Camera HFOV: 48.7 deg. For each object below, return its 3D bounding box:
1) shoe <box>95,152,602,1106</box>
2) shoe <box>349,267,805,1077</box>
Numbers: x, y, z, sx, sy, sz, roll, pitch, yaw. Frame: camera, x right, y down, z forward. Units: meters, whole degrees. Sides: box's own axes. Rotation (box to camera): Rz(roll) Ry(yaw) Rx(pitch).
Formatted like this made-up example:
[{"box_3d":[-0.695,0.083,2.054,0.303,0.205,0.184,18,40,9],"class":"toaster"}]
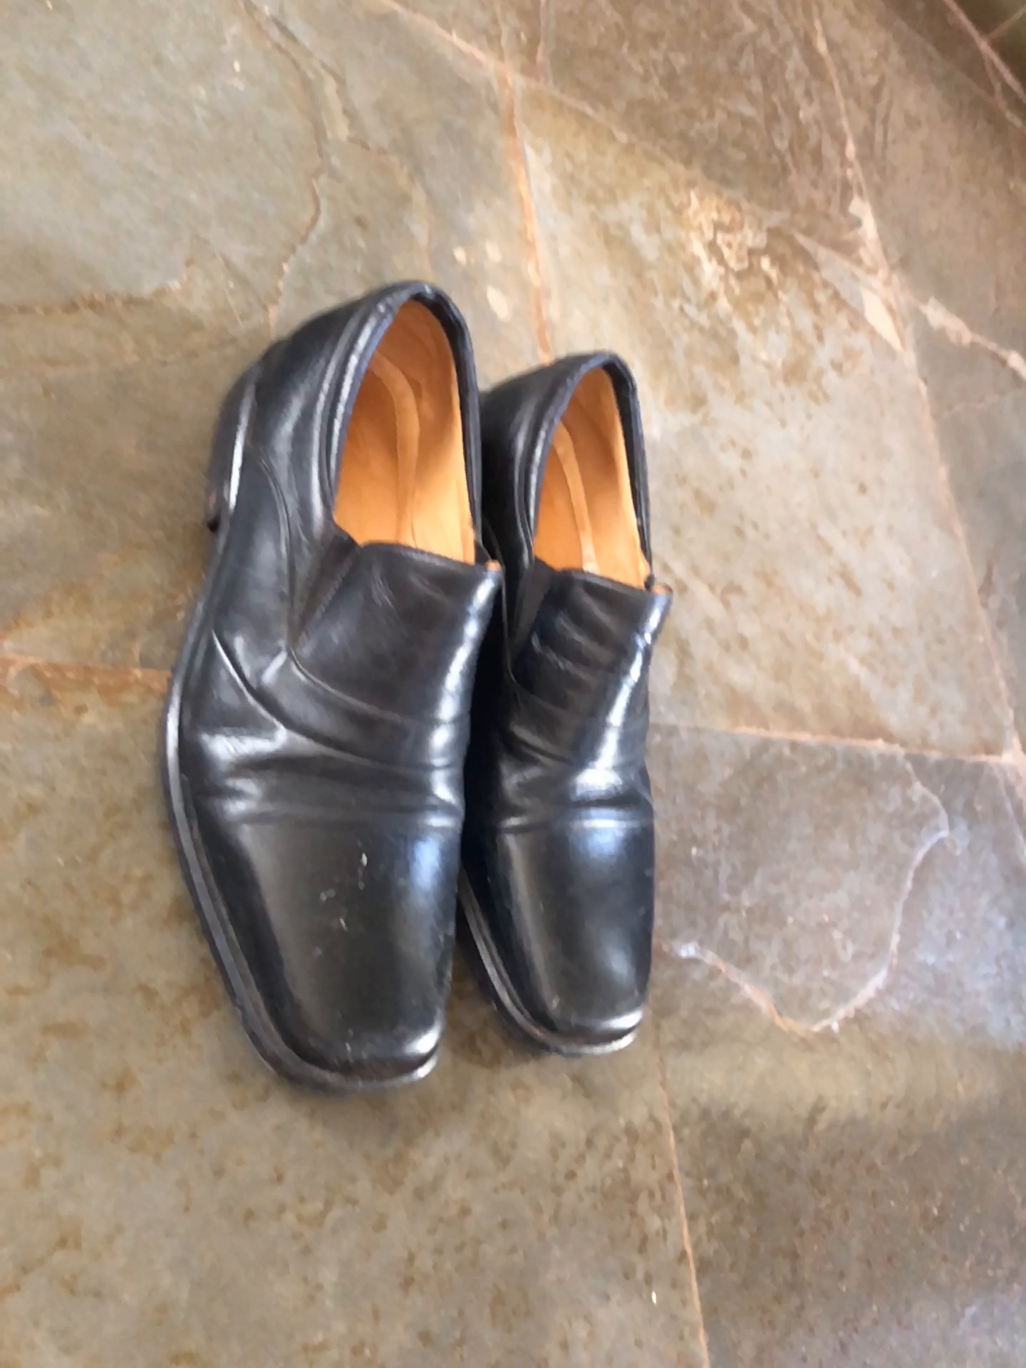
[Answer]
[{"box_3d":[-0.065,-0.013,0.388,0.111,0.109,0.281,10,65,-38],"class":"shoe"},{"box_3d":[0.014,-0.001,0.447,0.100,0.109,0.281,10,65,-38],"class":"shoe"}]
